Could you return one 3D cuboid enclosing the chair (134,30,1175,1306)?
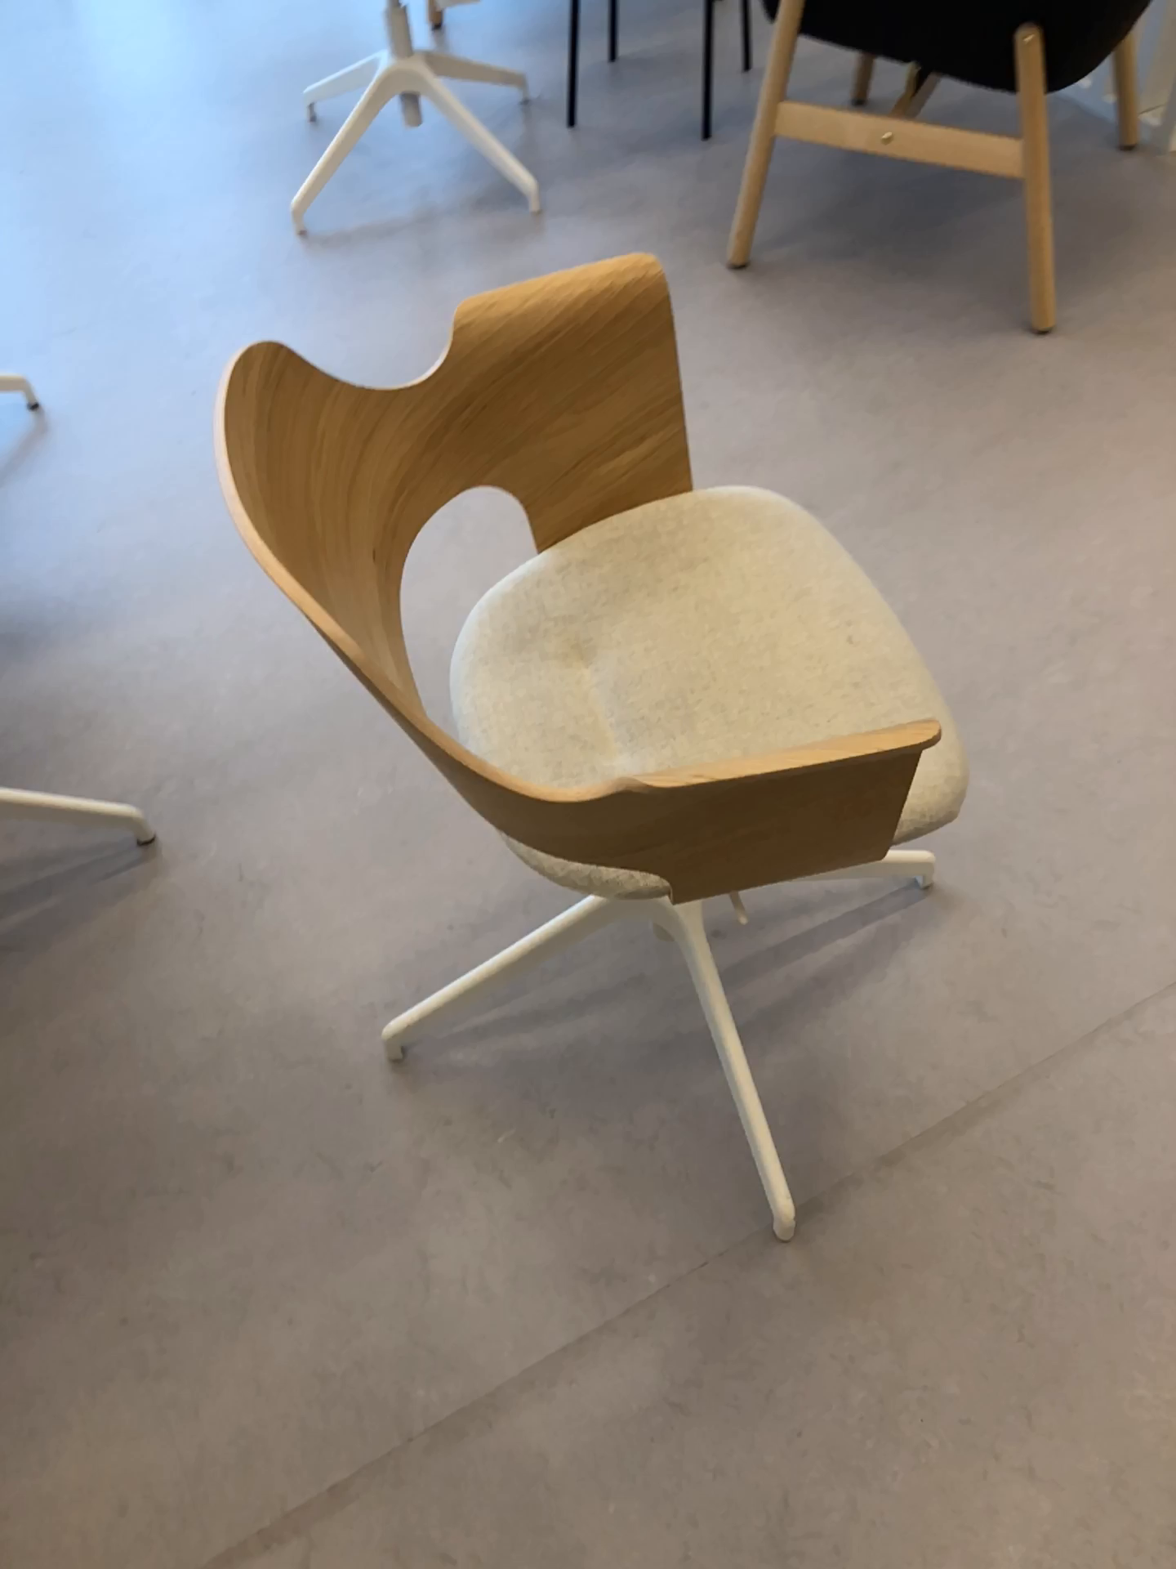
[{"bbox_3d":[0.099,-0.063,1.130,0.660,0.776,0.714,-6,52,-1],"label":"chair"}]
